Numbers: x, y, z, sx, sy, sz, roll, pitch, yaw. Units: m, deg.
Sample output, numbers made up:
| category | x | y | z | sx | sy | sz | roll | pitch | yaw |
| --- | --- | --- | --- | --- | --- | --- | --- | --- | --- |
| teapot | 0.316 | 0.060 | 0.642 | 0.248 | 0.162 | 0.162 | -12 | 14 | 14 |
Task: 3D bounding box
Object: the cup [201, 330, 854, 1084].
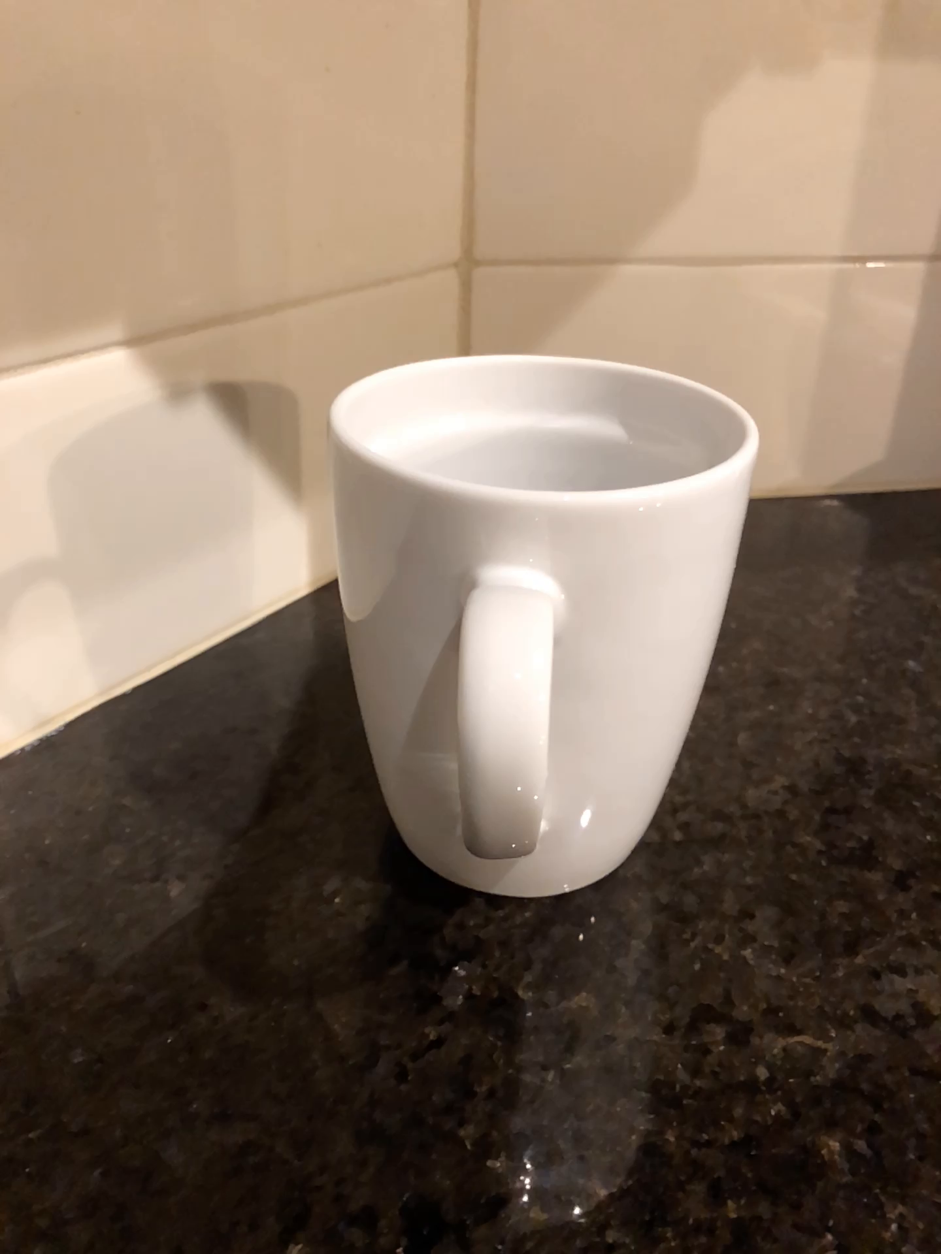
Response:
| category | x | y | z | sx | sy | sz | roll | pitch | yaw |
| --- | --- | --- | --- | --- | --- | --- | --- | --- | --- |
| cup | 0.018 | 0.002 | 0.221 | 0.090 | 0.090 | 0.131 | 8 | 29 | 10 |
